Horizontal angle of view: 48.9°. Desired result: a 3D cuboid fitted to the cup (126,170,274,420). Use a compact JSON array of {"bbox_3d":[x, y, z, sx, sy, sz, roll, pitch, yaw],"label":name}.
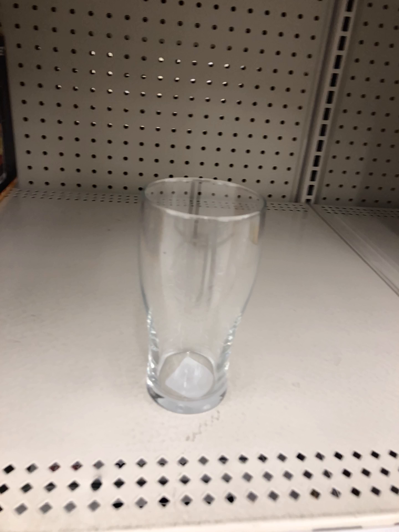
[{"bbox_3d":[-0.002,0.018,0.296,0.076,0.138,0.081,4,27,-2],"label":"cup"}]
